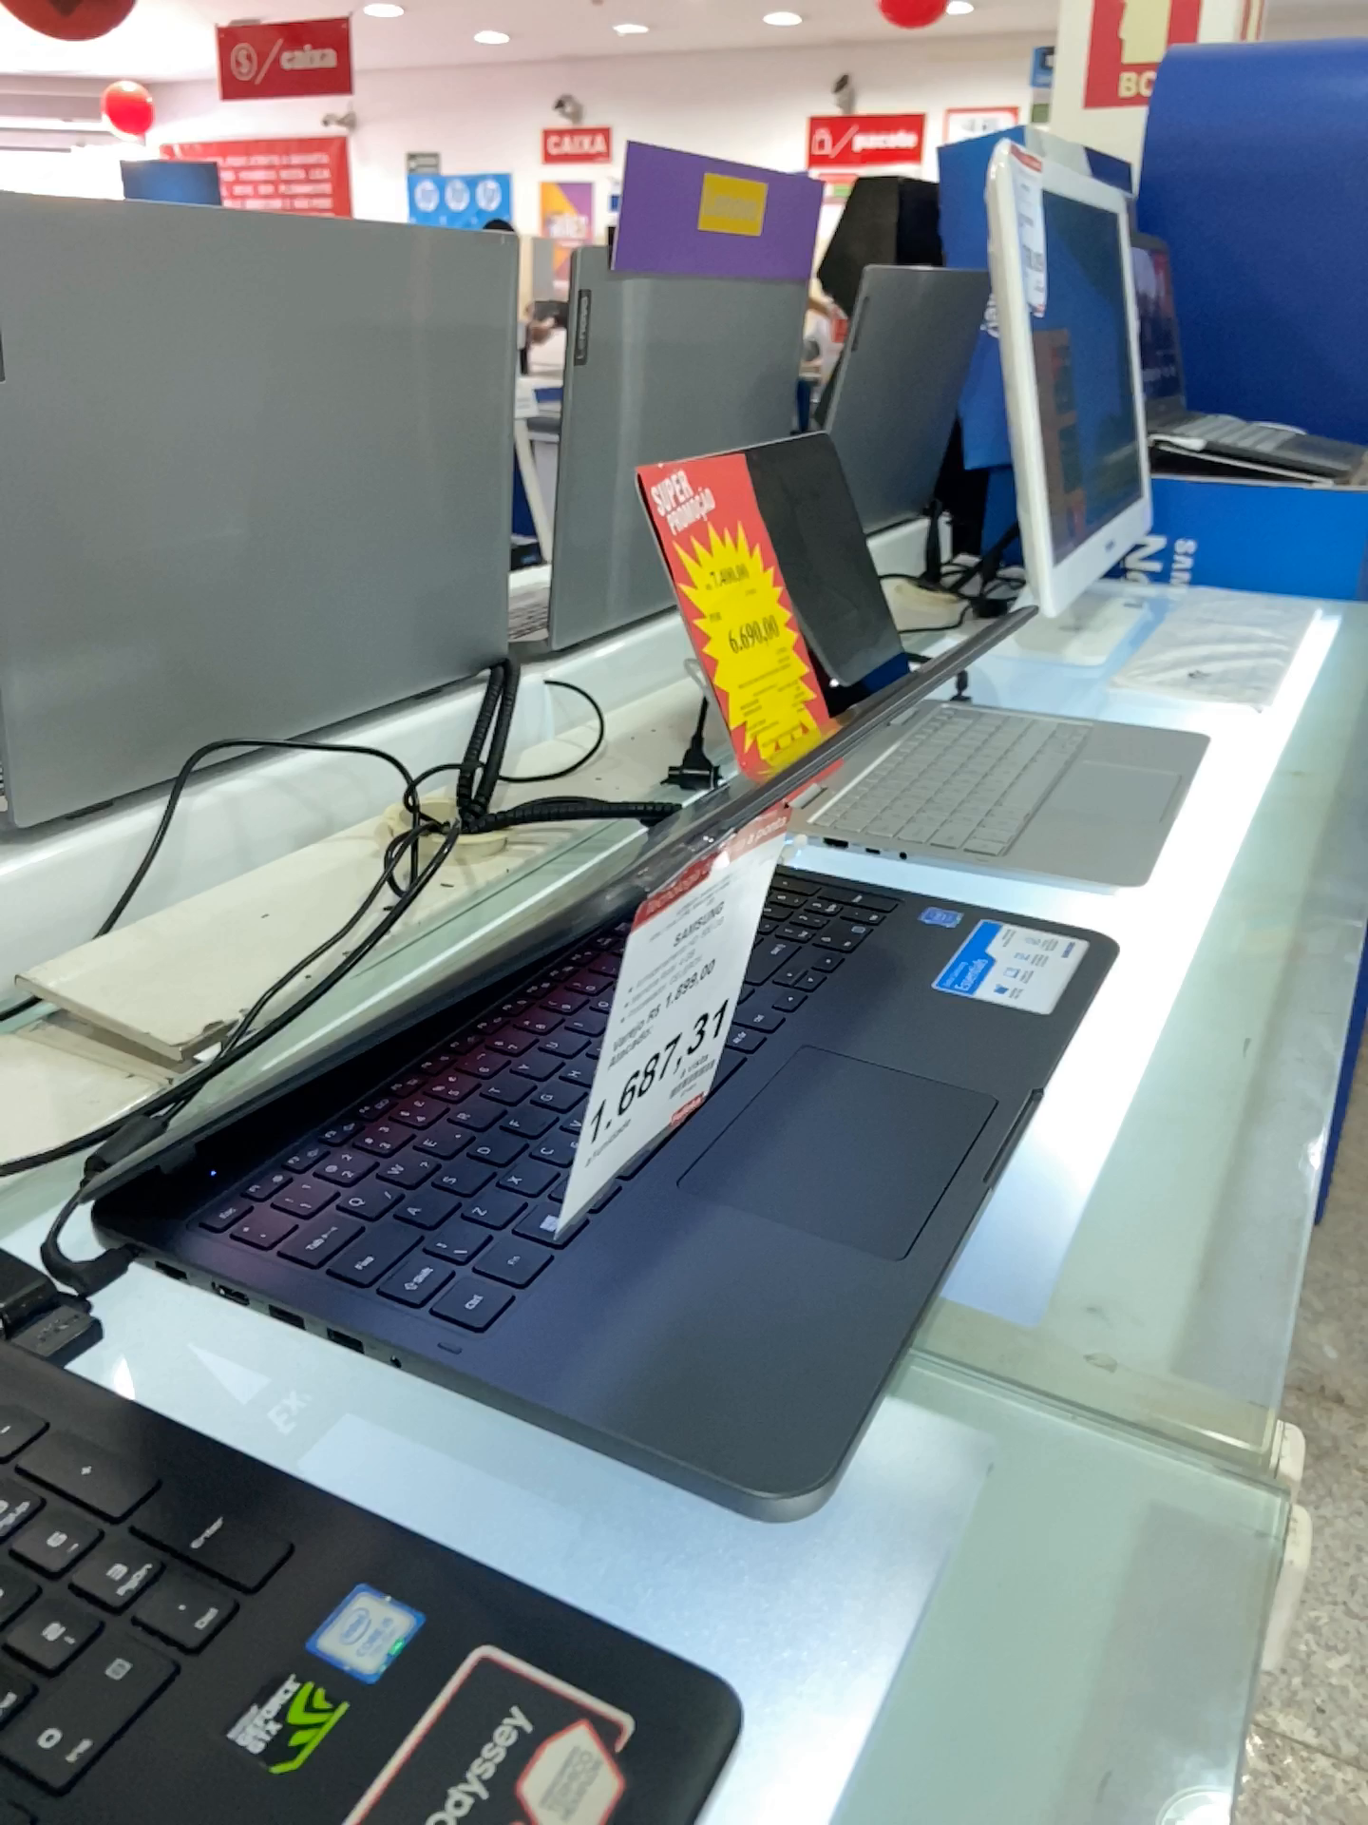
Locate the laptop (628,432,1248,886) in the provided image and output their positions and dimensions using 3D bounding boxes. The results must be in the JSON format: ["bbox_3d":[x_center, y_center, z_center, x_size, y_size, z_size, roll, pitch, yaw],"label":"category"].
[{"bbox_3d":[0.163,-0.181,0.860,0.296,0.177,0.317,12,25,24],"label":"laptop"}]

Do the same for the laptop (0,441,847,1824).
[{"bbox_3d":[-0.249,0.079,0.148,0.371,0.223,0.395,11,23,22],"label":"laptop"}]

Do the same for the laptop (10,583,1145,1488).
[{"bbox_3d":[0.005,-0.012,0.508,0.235,0.140,0.368,12,24,24],"label":"laptop"}]
